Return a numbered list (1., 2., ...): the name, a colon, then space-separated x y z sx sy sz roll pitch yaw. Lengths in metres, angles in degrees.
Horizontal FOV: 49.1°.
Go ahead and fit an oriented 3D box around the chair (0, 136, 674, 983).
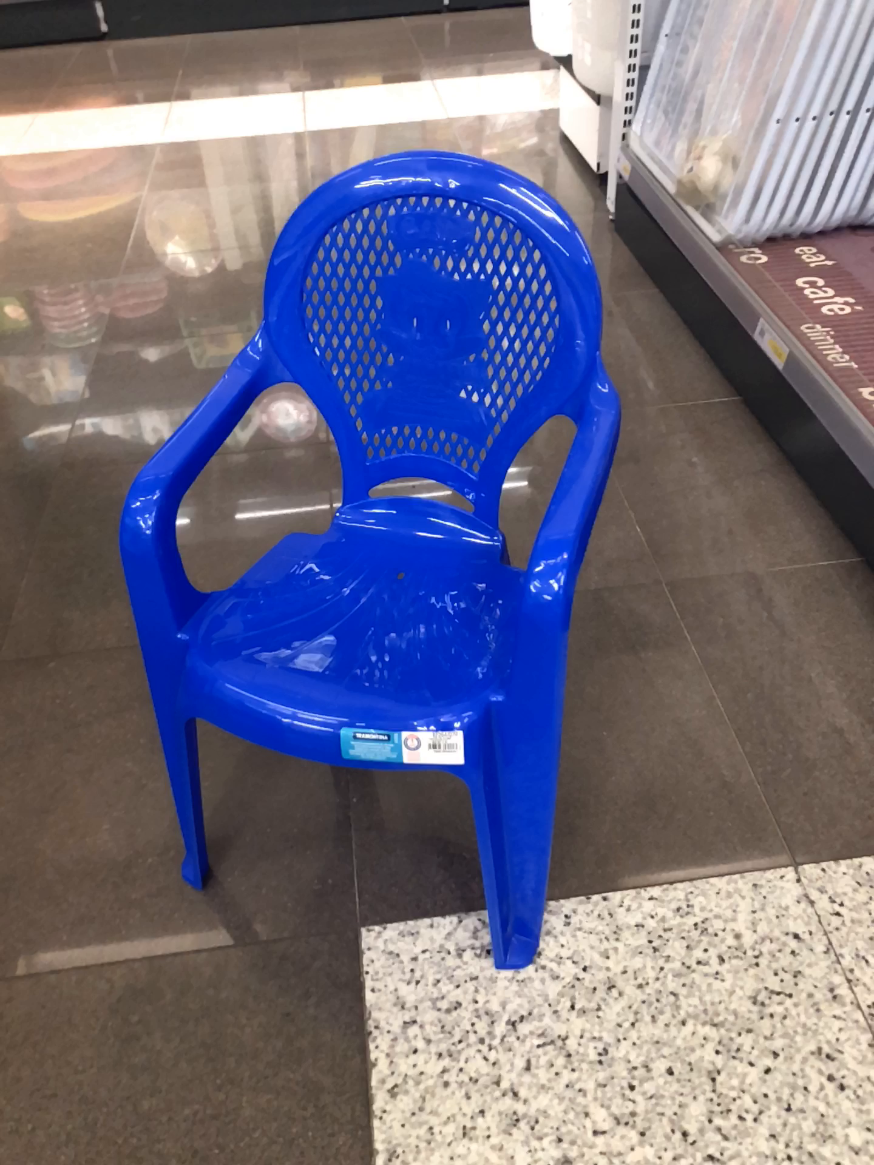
1. chair: -0.039 -0.032 0.787 0.350 0.506 0.403 10 42 16
